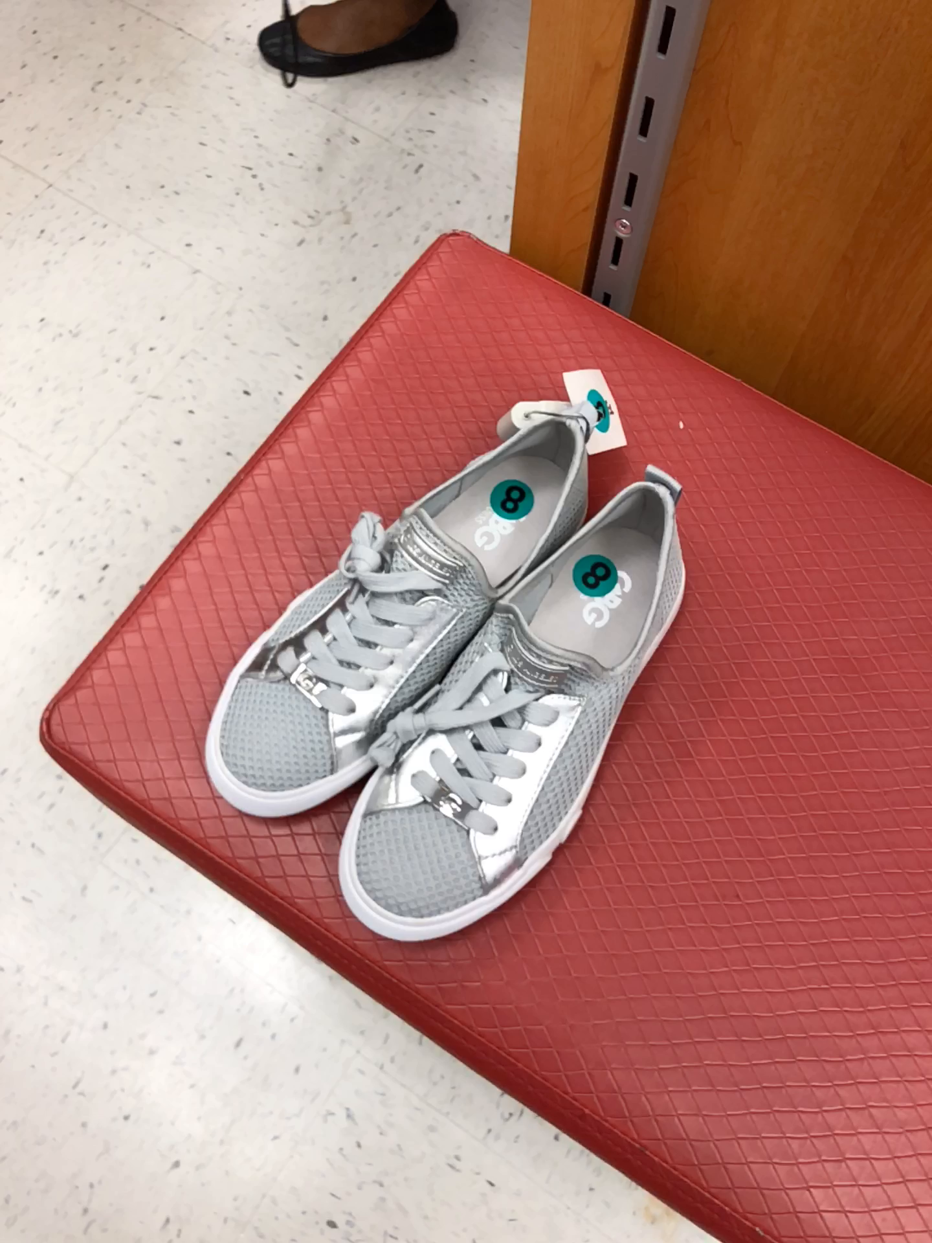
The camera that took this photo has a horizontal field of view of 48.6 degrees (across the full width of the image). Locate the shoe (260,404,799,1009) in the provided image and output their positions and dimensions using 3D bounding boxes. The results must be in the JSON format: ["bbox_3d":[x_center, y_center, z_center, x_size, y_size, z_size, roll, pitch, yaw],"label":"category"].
[{"bbox_3d":[0.035,0.039,0.503,0.106,0.095,0.268,35,71,12],"label":"shoe"}]

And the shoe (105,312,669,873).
[{"bbox_3d":[-0.031,-0.017,0.525,0.106,0.097,0.268,40,72,14],"label":"shoe"}]
